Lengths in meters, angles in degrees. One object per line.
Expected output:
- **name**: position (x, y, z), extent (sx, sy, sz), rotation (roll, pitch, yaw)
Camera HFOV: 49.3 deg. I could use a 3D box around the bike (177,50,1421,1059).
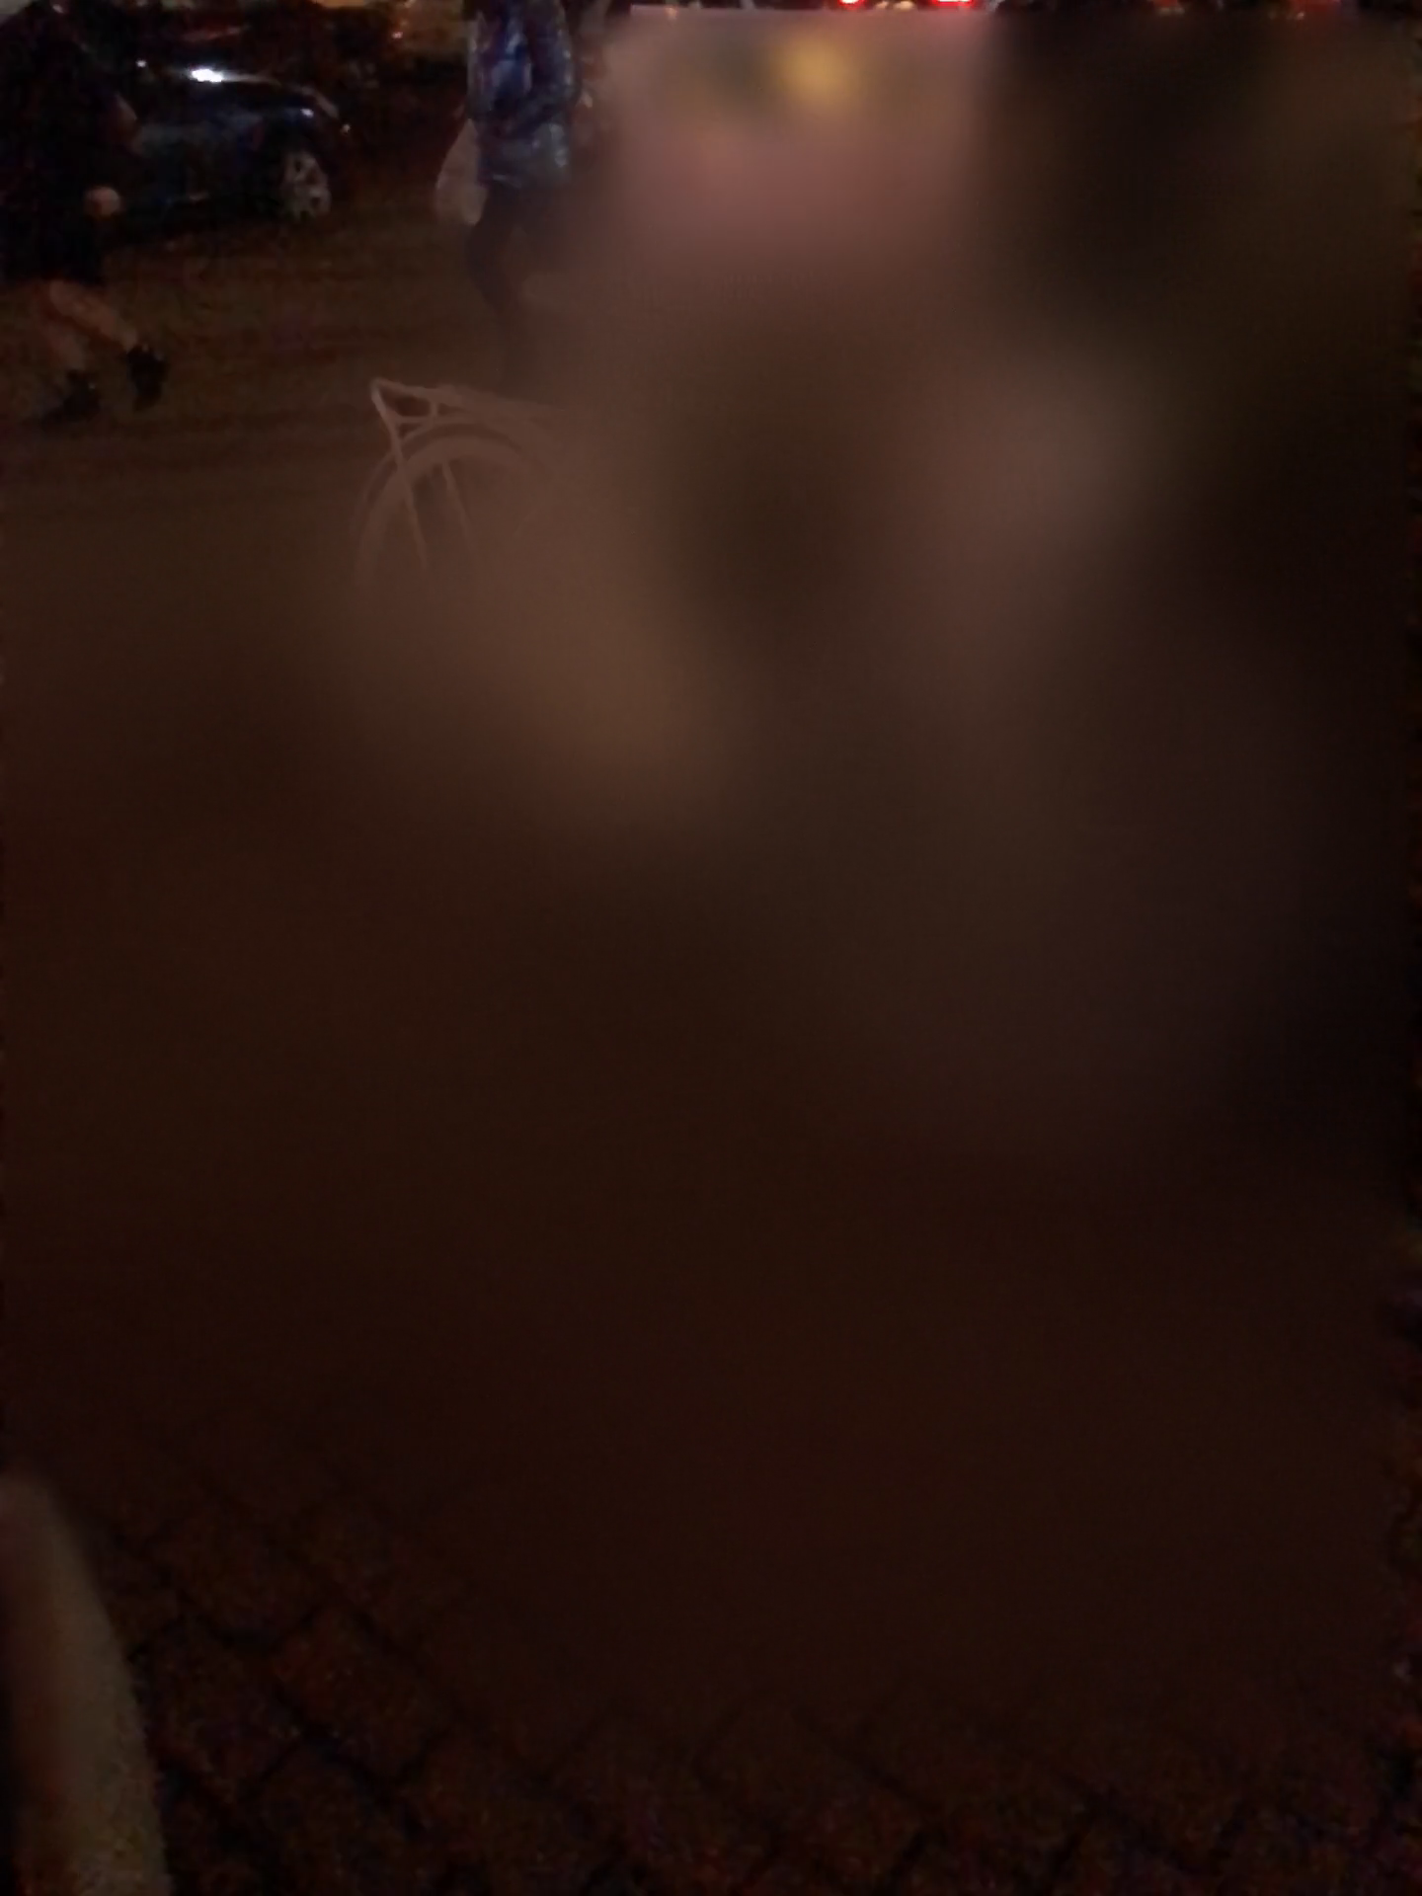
- **bike**: position (0.071, -0.680, 2.463), extent (1.831, 1.118, 0.608), rotation (19, 39, 34)
